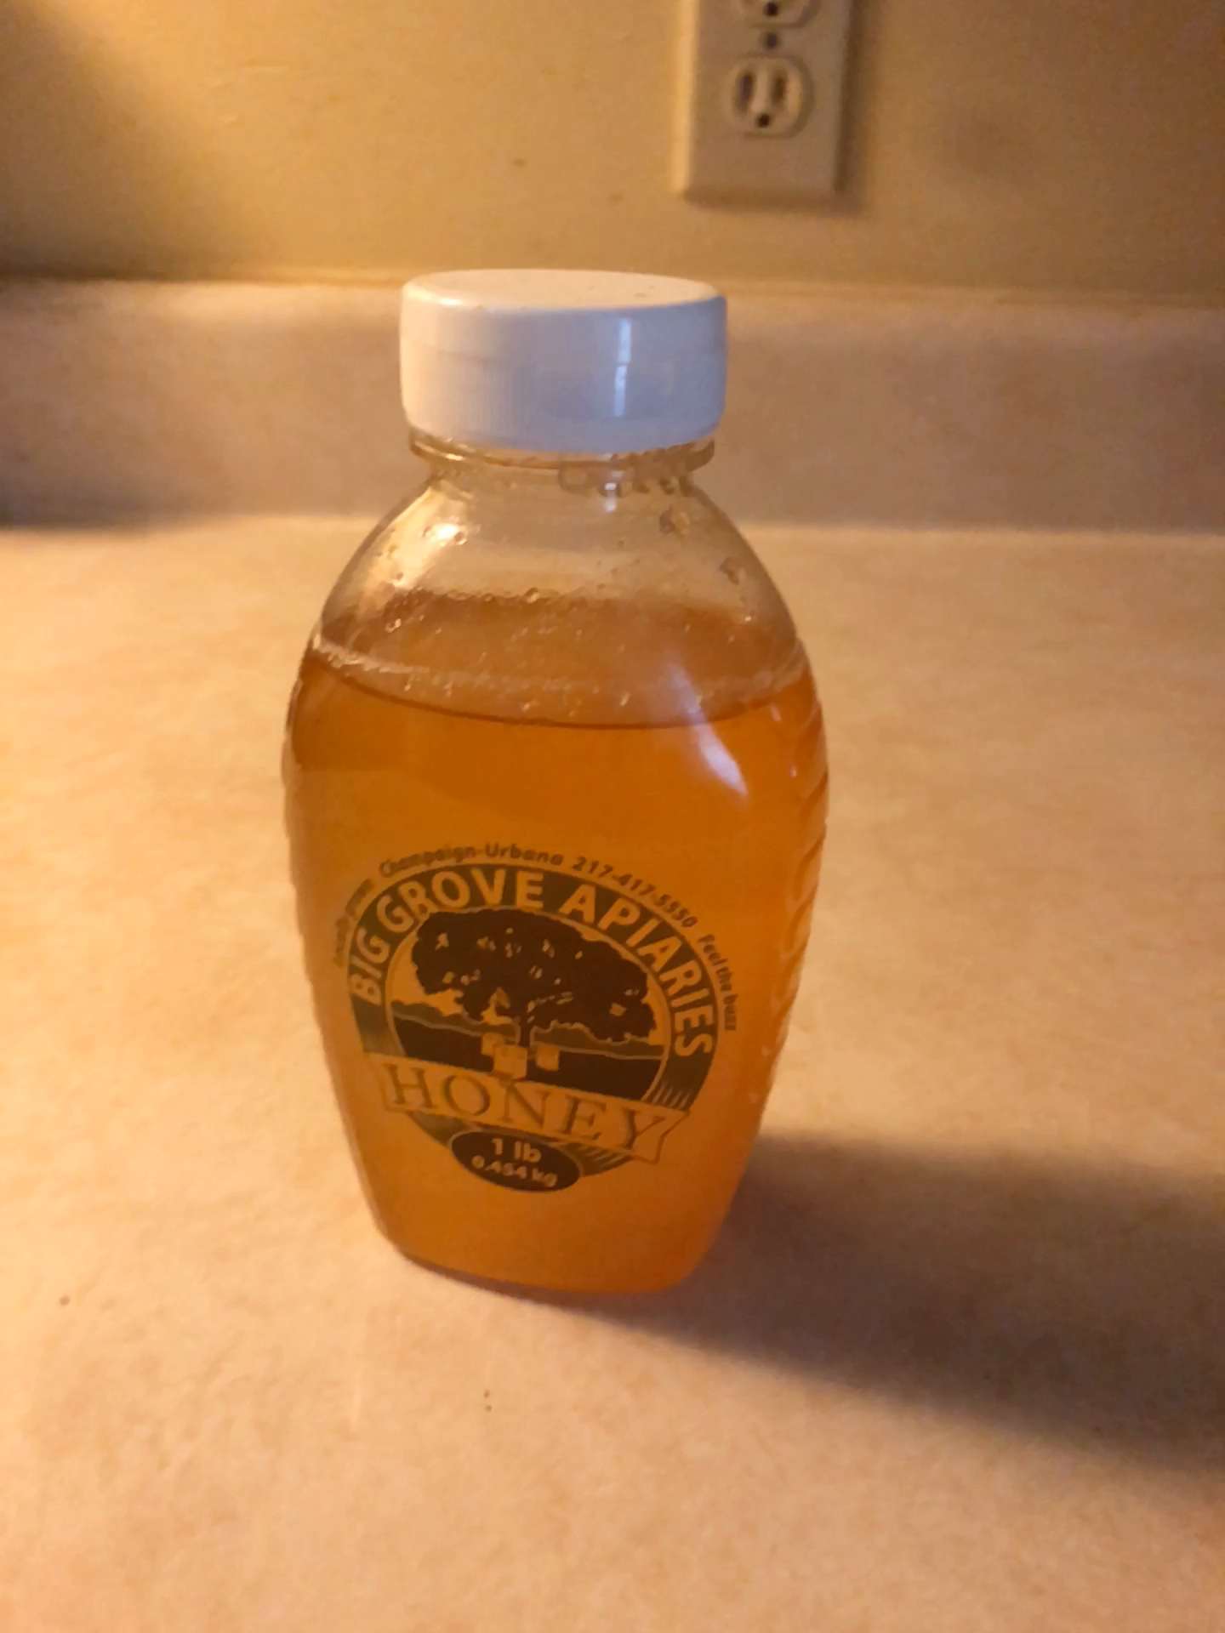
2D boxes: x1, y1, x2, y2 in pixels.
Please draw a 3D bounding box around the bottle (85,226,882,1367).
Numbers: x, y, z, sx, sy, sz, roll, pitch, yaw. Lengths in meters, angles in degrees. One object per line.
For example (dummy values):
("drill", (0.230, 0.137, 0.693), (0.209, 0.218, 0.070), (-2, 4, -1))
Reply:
("bottle", (-0.011, -0.004, 0.192), (0.080, 0.140, 0.060), (5, 26, 8))
